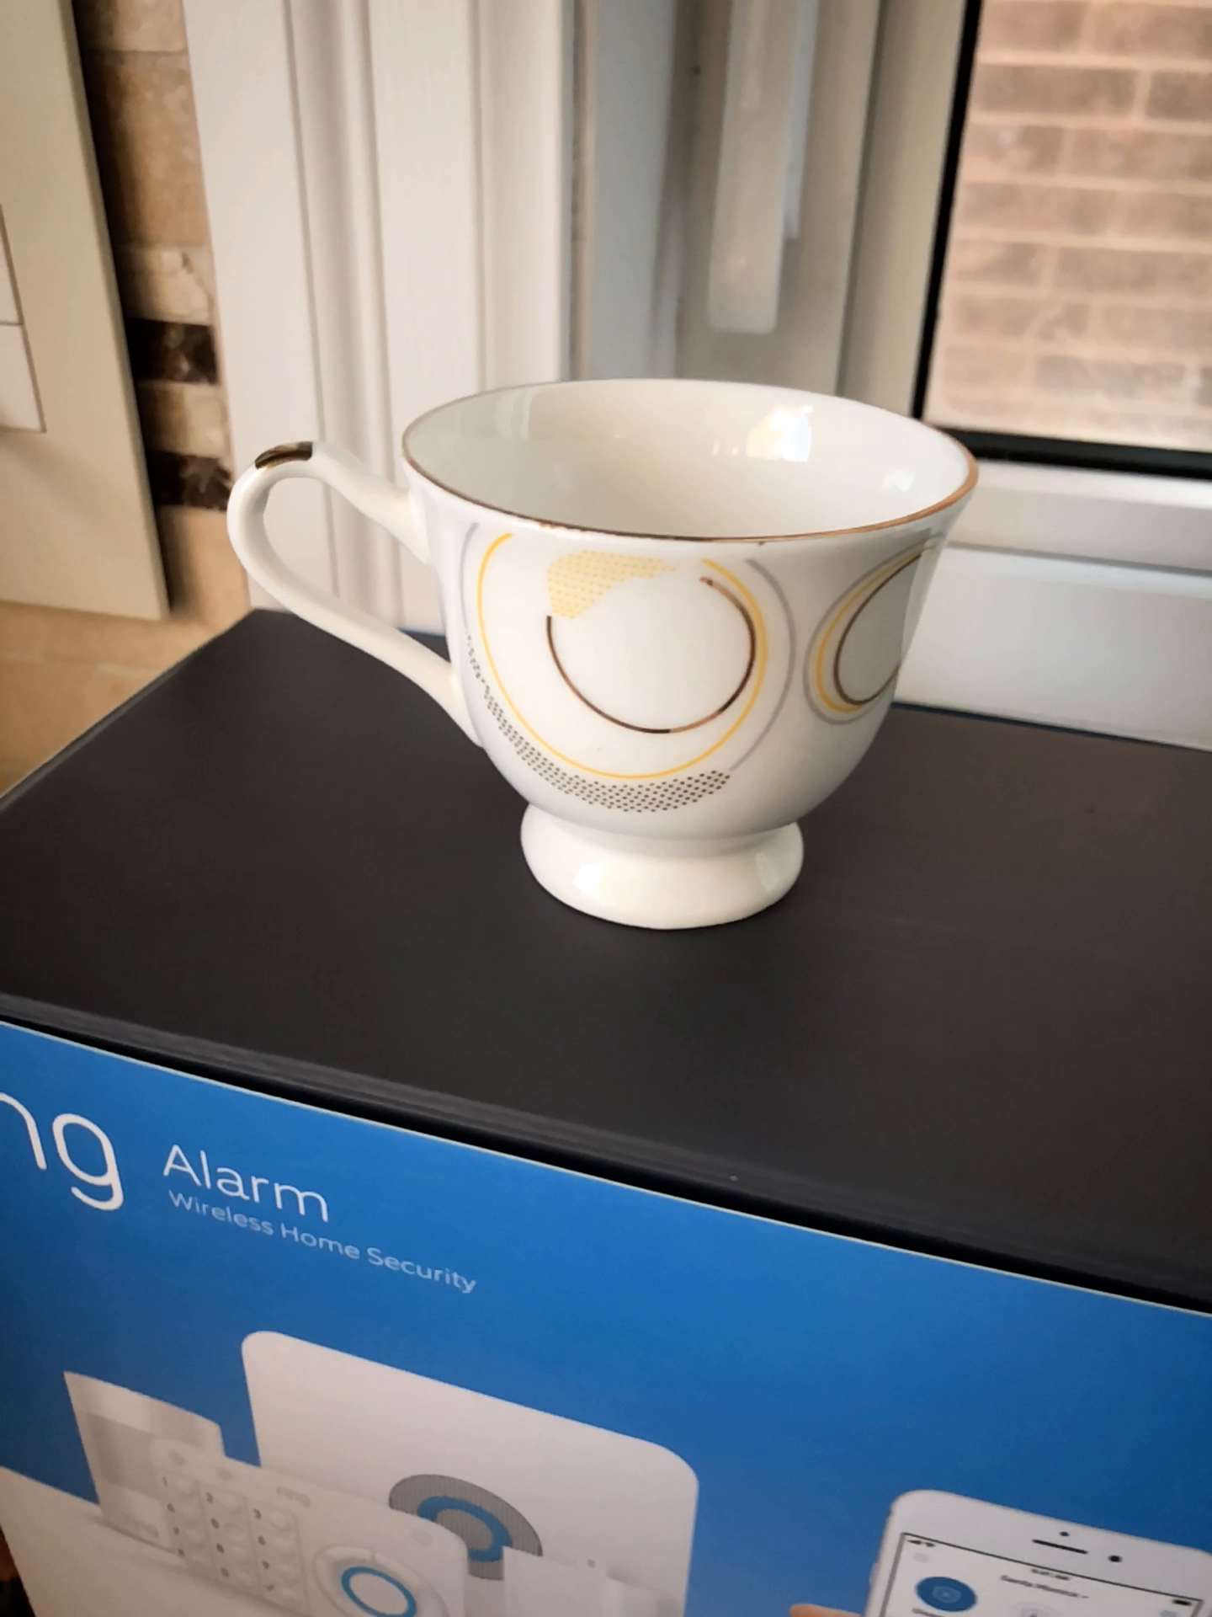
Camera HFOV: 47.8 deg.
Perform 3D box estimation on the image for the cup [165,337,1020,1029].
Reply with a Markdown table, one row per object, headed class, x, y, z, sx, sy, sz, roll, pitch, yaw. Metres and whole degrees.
| class | x | y | z | sx | sy | sz | roll | pitch | yaw |
| --- | --- | --- | --- | --- | --- | --- | --- | --- | --- |
| cup | 0.003 | -0.025 | 0.206 | 0.100 | 0.066 | 0.077 | 7 | 33 | 10 |
